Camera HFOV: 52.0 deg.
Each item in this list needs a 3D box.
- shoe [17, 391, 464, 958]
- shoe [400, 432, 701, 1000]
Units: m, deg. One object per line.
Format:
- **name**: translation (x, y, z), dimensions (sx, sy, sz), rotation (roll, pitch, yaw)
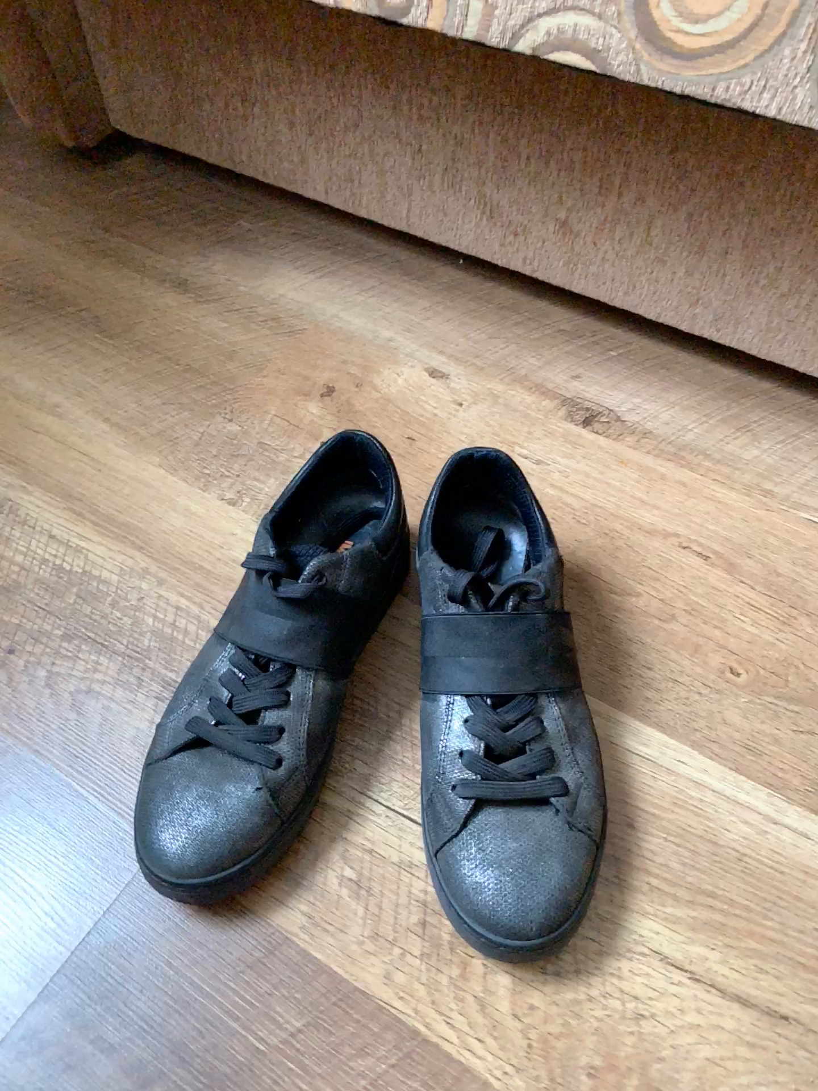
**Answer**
- **shoe**: translation (-0.062, 0.049, 0.430), dimensions (0.100, 0.090, 0.261), rotation (16, 54, 13)
- **shoe**: translation (0.051, 0.069, 0.417), dimensions (0.100, 0.090, 0.261), rotation (-2, 52, -1)
